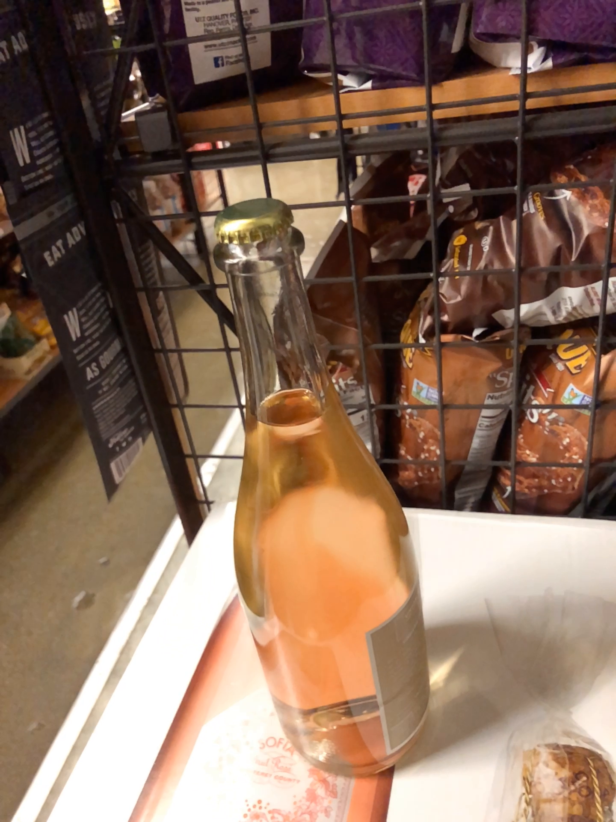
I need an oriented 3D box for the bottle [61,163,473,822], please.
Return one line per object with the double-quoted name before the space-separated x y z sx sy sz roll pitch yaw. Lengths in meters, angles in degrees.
"bottle" 0.011 0.063 0.299 0.095 0.304 0.099 -7 32 4
